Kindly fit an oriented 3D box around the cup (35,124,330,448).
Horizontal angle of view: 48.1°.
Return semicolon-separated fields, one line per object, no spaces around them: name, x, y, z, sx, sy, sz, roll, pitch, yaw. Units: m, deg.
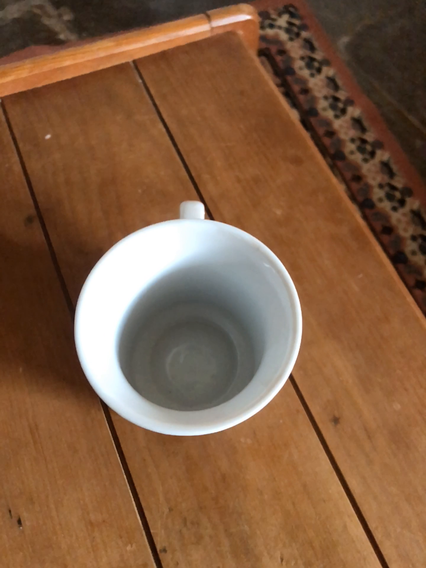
cup;-0.013;0.004;0.224;0.100;0.080;0.130;0;67;-3
